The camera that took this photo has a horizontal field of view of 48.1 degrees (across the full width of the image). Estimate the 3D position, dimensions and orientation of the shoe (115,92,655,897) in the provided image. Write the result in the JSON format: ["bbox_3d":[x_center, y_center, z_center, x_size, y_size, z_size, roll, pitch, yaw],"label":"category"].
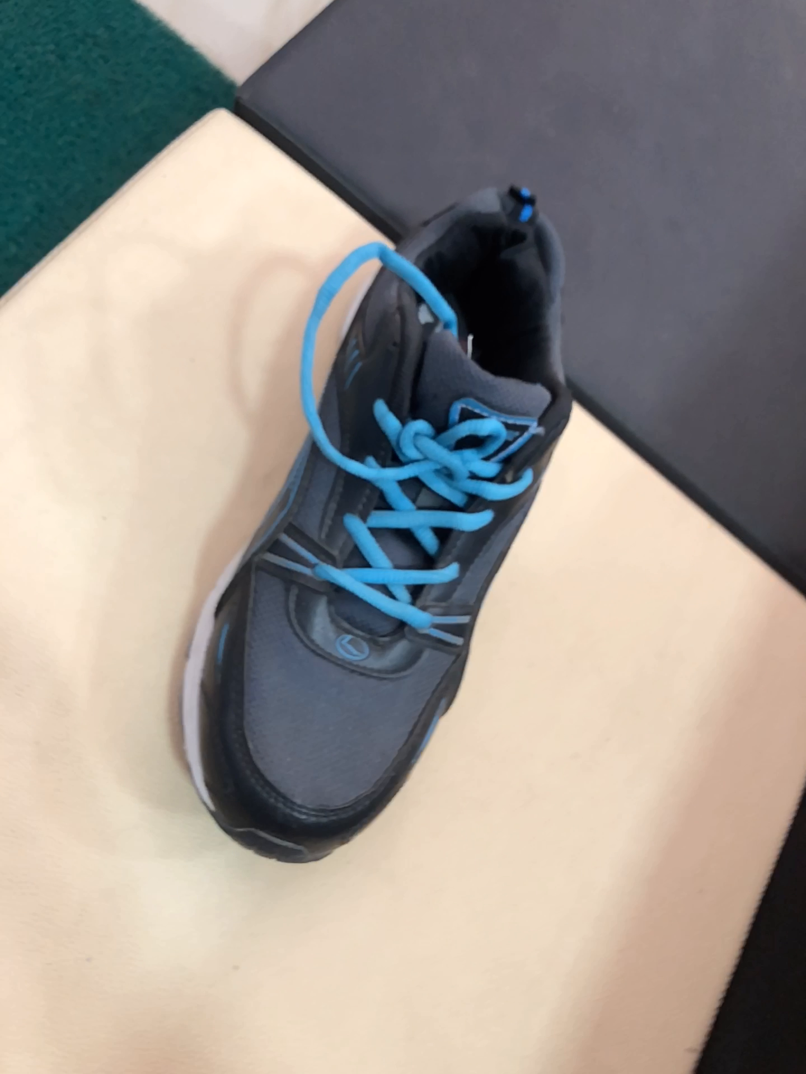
[{"bbox_3d":[-0.001,-0.019,0.352,0.100,0.100,0.271,26,67,-14],"label":"shoe"}]
